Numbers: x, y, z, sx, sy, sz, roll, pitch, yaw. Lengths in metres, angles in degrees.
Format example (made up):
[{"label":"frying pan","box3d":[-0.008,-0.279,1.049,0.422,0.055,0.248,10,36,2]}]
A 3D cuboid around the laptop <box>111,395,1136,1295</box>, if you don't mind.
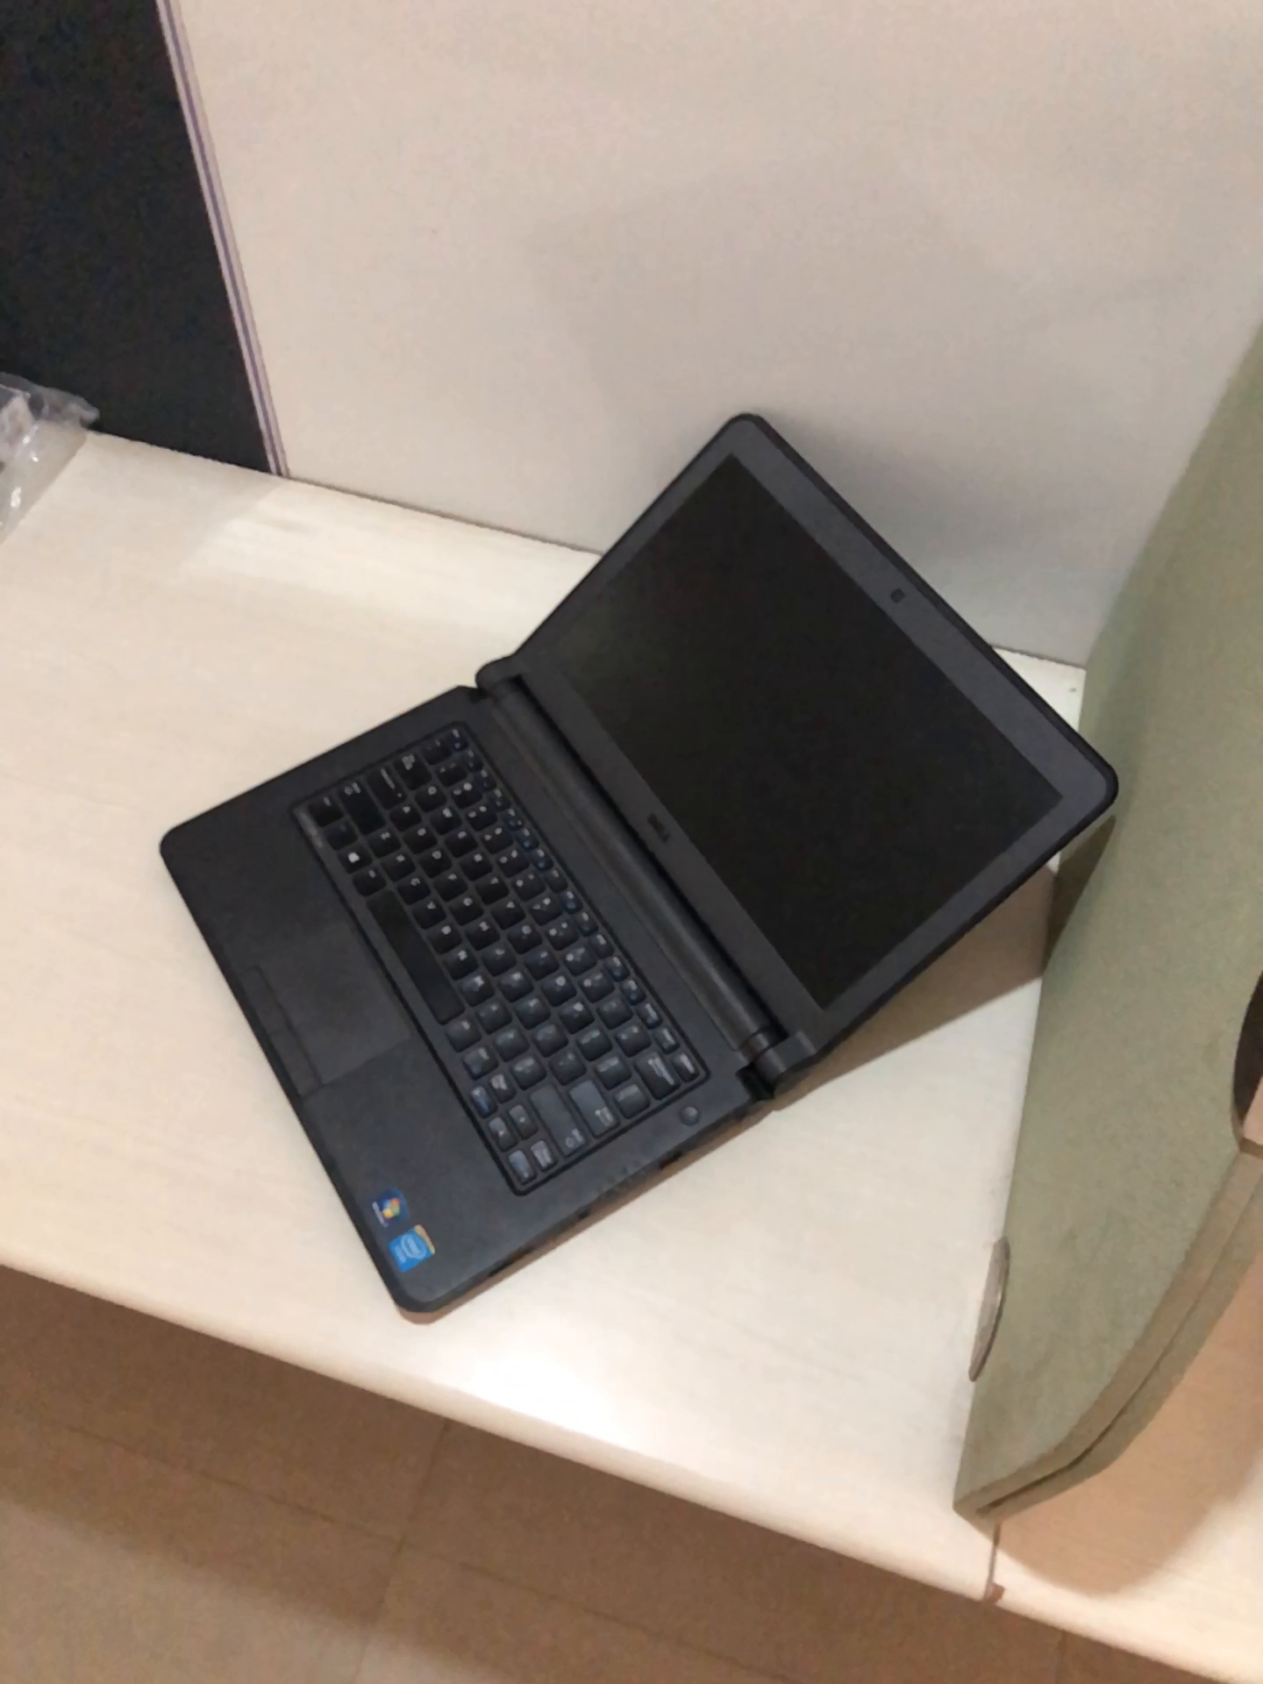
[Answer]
[{"label":"laptop","box3d":[-0.015,-0.021,0.727,0.395,0.128,0.310,-28,61,-15]}]
